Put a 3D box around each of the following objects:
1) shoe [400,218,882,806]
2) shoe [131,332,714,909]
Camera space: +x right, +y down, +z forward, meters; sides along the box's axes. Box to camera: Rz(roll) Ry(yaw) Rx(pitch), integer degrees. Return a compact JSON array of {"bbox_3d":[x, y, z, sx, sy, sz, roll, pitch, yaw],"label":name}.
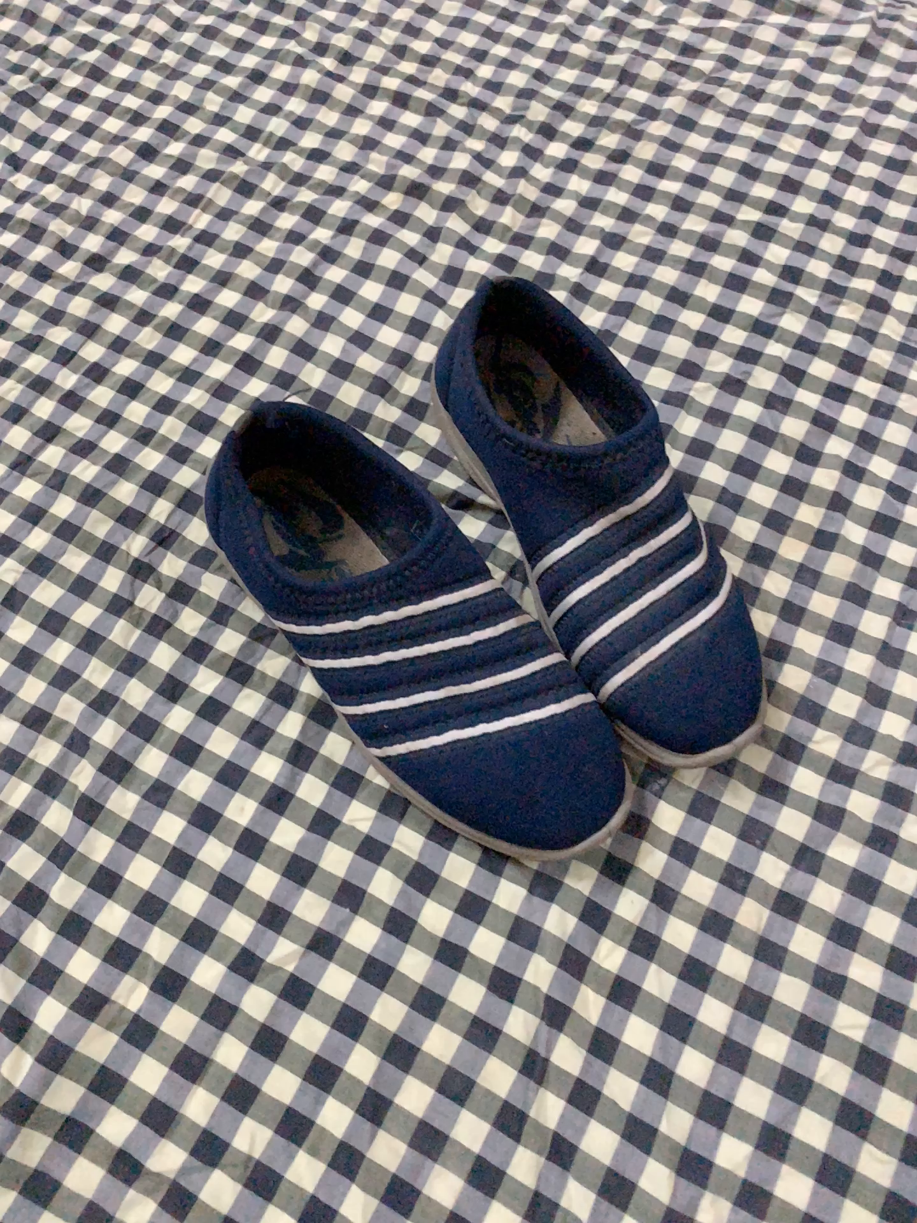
[{"bbox_3d":[0.070,-0.049,0.449,0.090,0.100,0.251,-25,68,-8],"label":"shoe"},{"bbox_3d":[-0.021,0.001,0.421,0.090,0.090,0.251,-42,71,-14],"label":"shoe"}]
